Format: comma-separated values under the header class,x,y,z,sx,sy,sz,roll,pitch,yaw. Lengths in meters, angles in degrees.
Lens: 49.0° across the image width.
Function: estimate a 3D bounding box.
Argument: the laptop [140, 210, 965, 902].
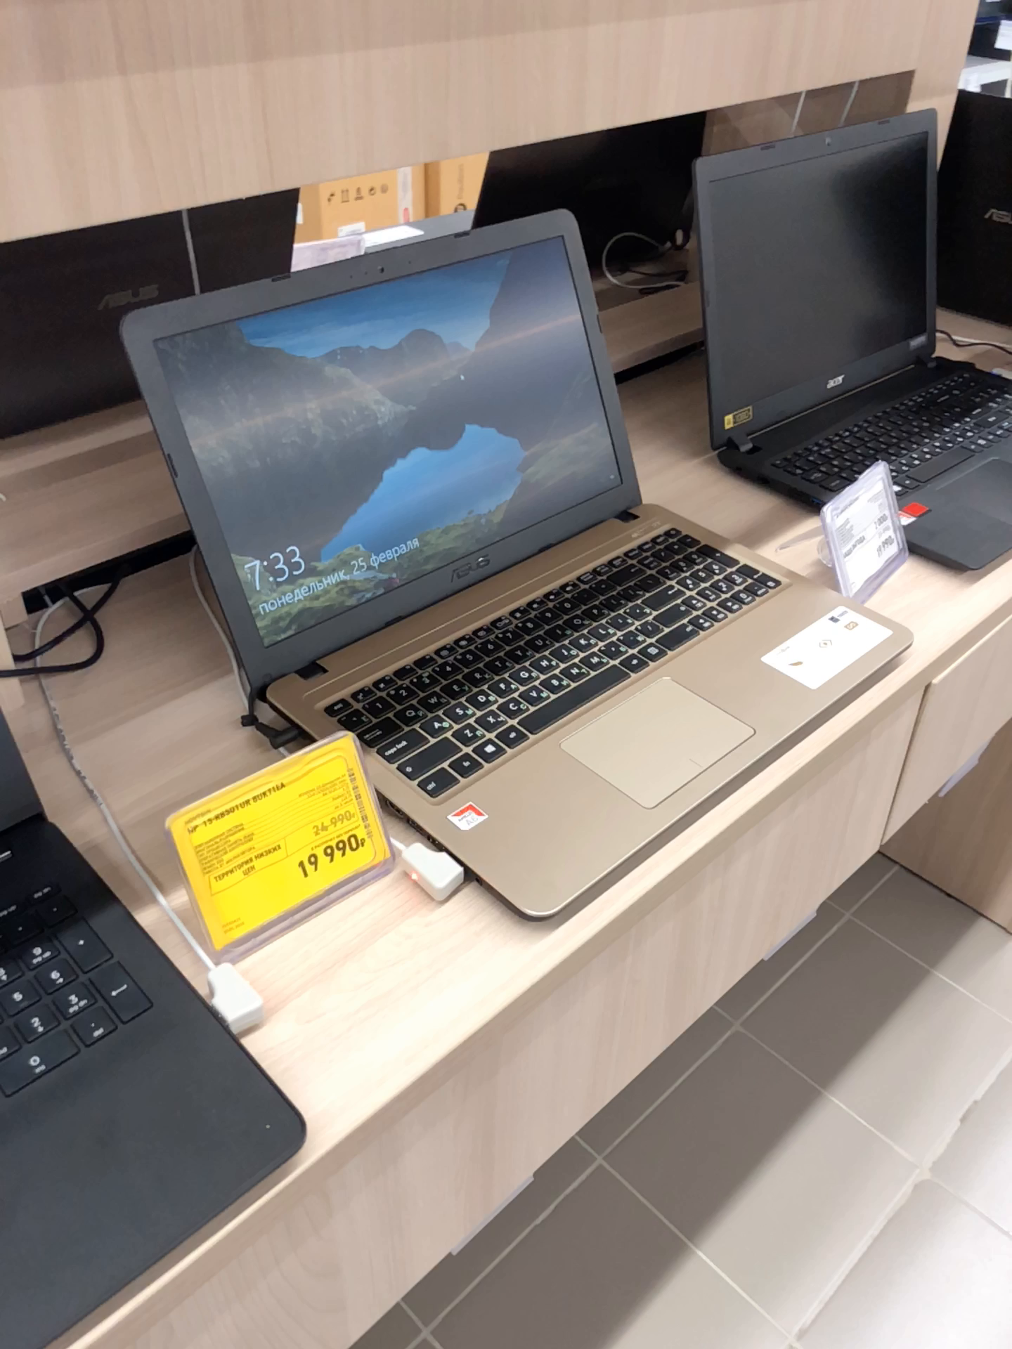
class,x,y,z,sx,sy,sz,roll,pitch,yaw
laptop,0.030,-0.123,0.724,0.367,0.208,0.350,-29,48,-36
